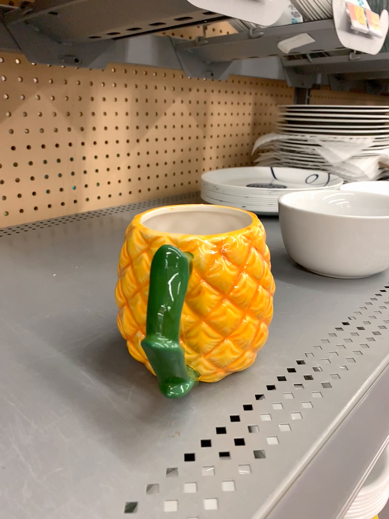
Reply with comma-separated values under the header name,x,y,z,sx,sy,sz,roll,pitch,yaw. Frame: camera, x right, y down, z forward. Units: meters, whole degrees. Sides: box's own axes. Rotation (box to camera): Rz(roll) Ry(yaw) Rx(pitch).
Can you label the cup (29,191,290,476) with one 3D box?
name,x,y,z,sx,sy,sz,roll,pitch,yaw
cup,-0.003,0.022,0.258,0.100,0.100,0.161,7,21,18
